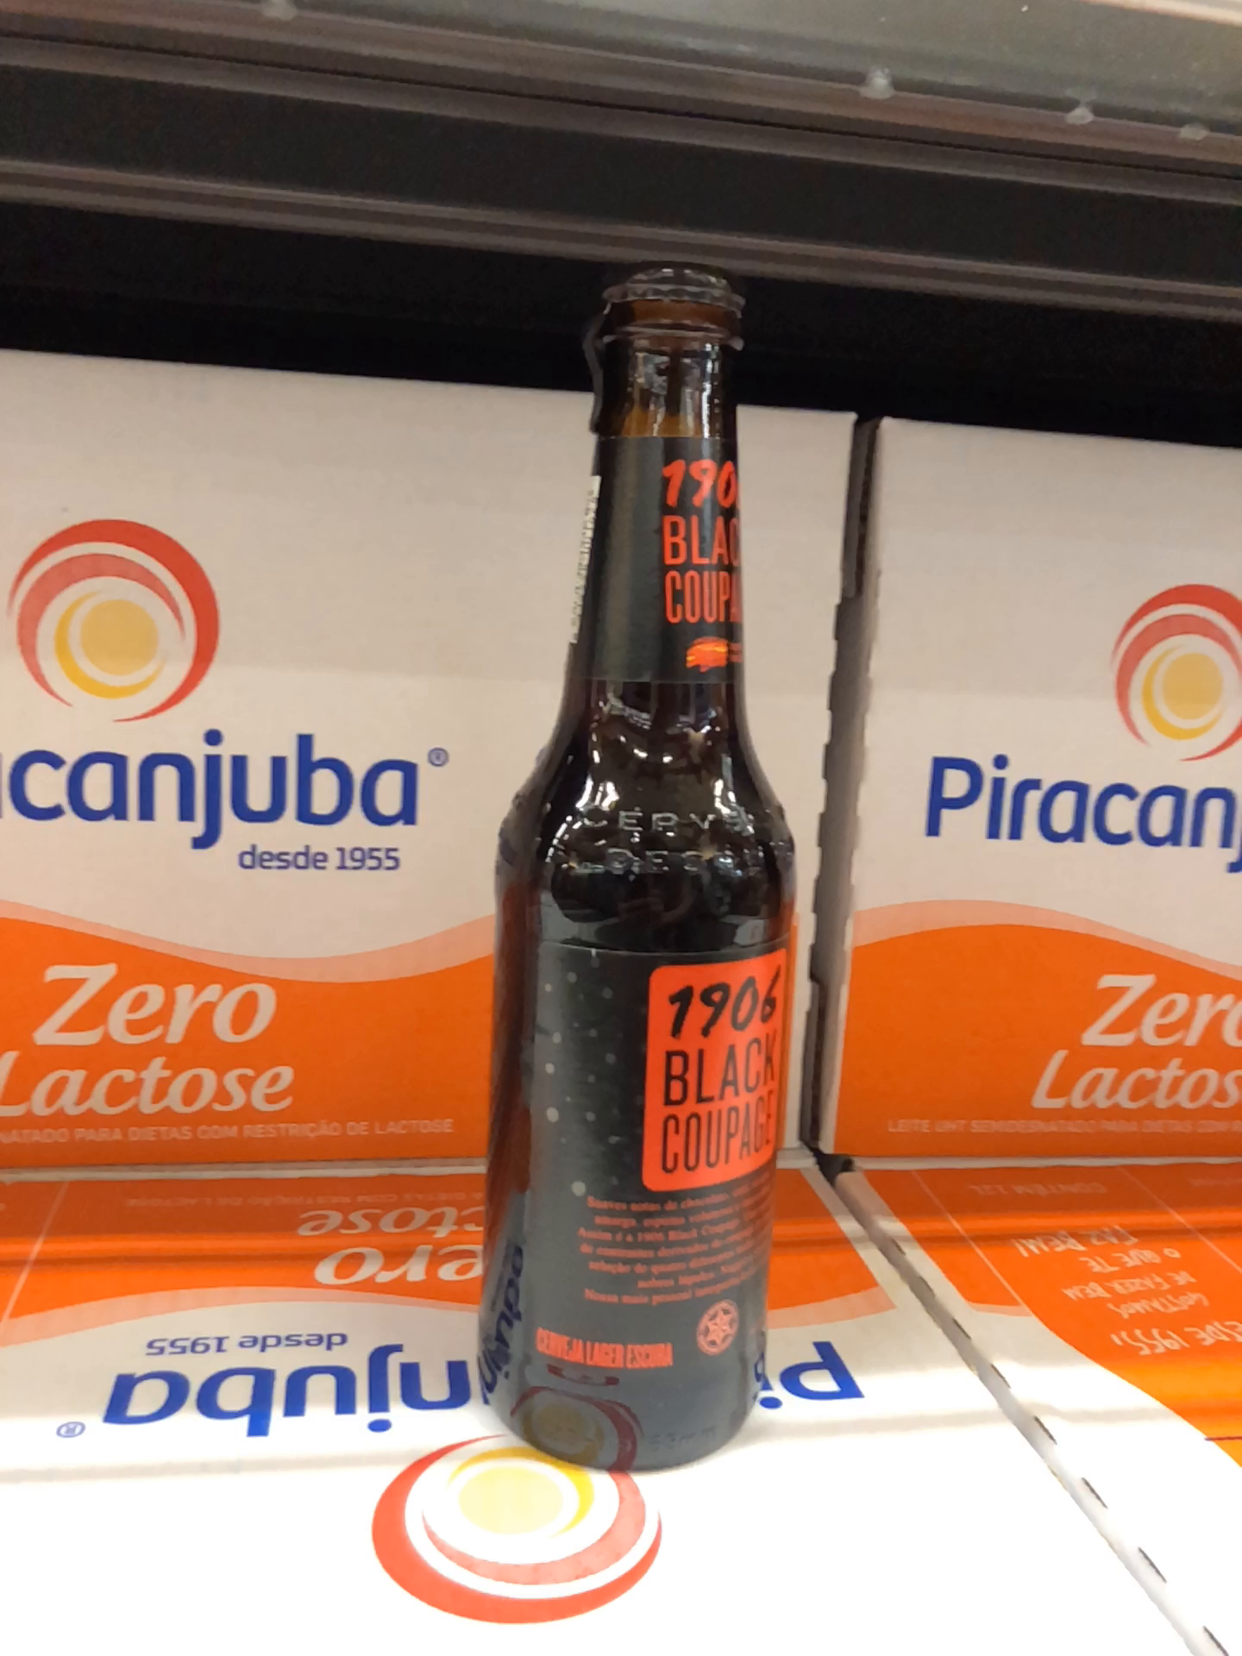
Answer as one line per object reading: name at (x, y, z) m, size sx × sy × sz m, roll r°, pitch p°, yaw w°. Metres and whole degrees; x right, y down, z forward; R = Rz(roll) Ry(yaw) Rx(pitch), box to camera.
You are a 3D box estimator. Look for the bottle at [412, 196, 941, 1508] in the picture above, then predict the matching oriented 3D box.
bottle at (0.008, 0.004, 0.273) m, size 0.070 × 0.219 × 0.060 m, roll -4°, pitch 11°, yaw -40°
